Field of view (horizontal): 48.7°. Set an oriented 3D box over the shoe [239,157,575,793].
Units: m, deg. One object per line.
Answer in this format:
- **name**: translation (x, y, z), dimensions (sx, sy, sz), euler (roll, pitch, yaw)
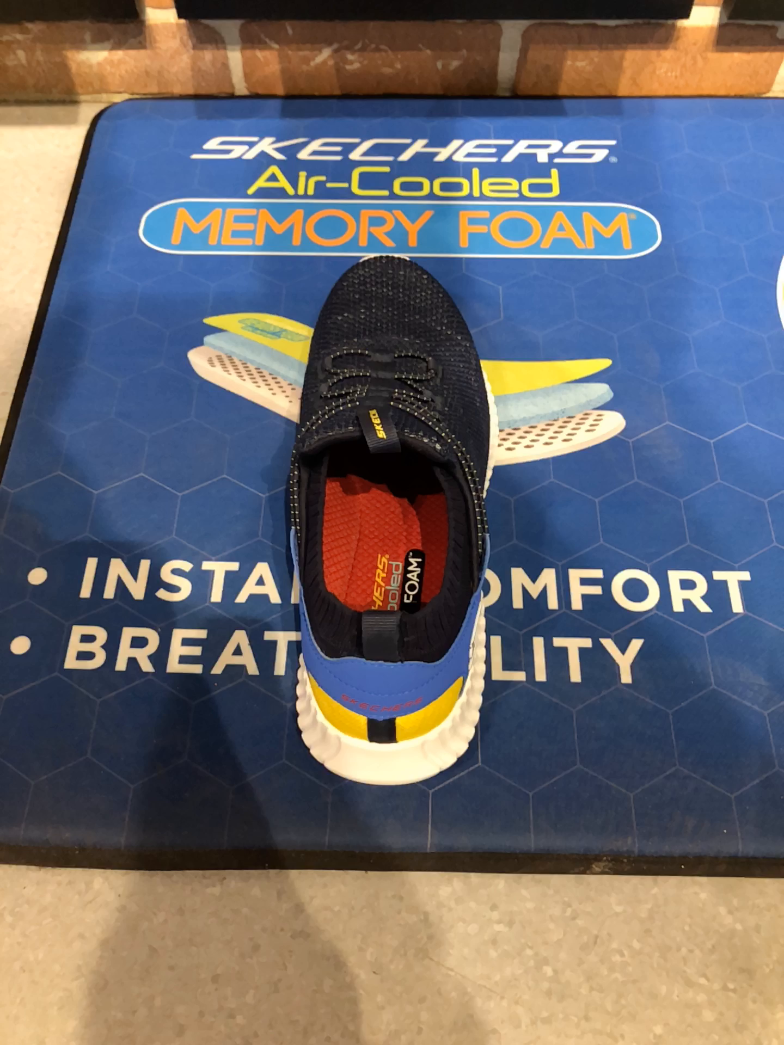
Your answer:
- **shoe**: translation (0.003, -0.031, 0.401), dimensions (0.111, 0.103, 0.281), euler (-1, 60, 0)
